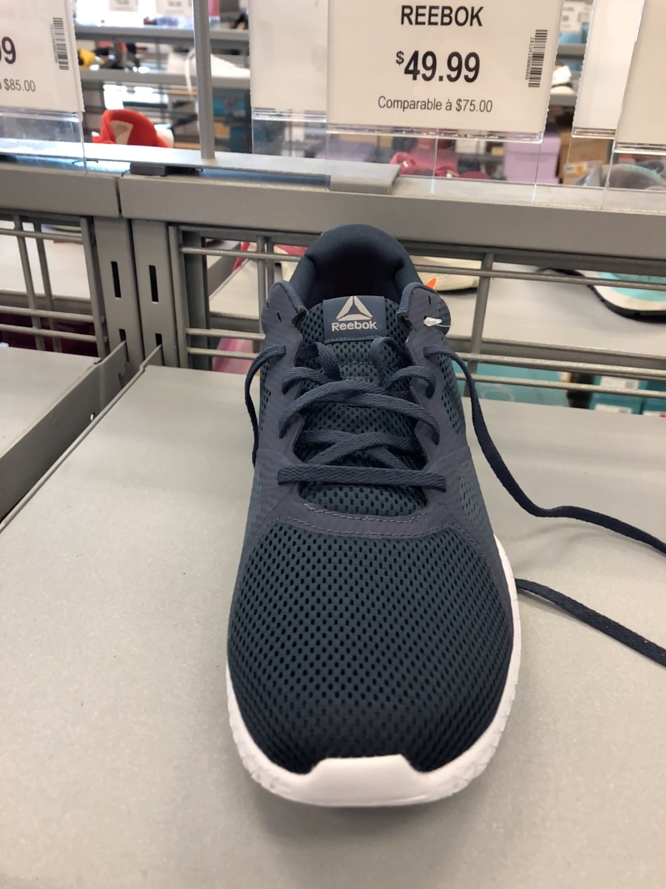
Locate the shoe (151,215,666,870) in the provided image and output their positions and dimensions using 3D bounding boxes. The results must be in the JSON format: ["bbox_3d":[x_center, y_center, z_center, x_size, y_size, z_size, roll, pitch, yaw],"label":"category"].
[{"bbox_3d":[0.021,-0.006,0.329,0.120,0.109,0.323,2,30,0],"label":"shoe"}]
